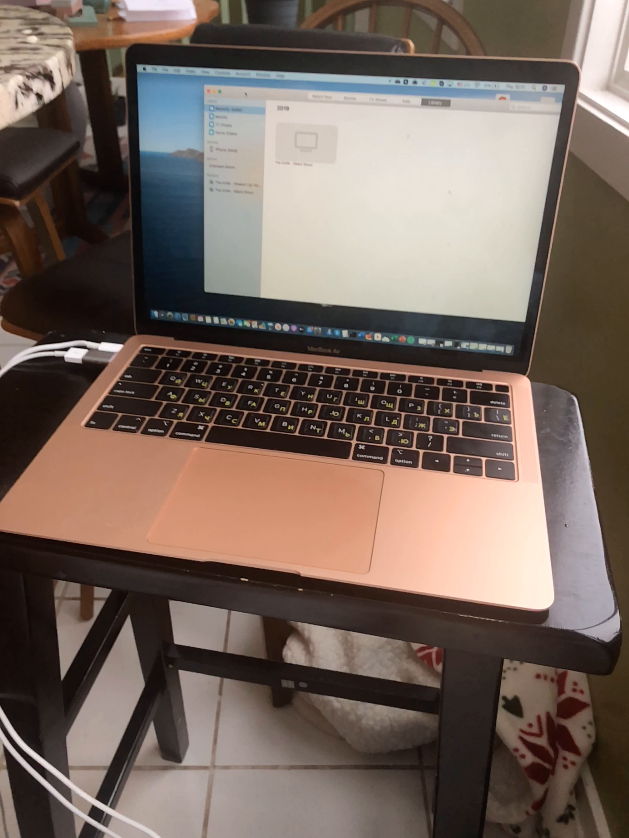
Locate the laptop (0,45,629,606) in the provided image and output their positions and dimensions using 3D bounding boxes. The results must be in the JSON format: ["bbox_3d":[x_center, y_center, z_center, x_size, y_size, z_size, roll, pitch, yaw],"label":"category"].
[{"bbox_3d":[-0.006,-0.083,0.408,0.297,0.196,0.266,7,37,8],"label":"laptop"}]
